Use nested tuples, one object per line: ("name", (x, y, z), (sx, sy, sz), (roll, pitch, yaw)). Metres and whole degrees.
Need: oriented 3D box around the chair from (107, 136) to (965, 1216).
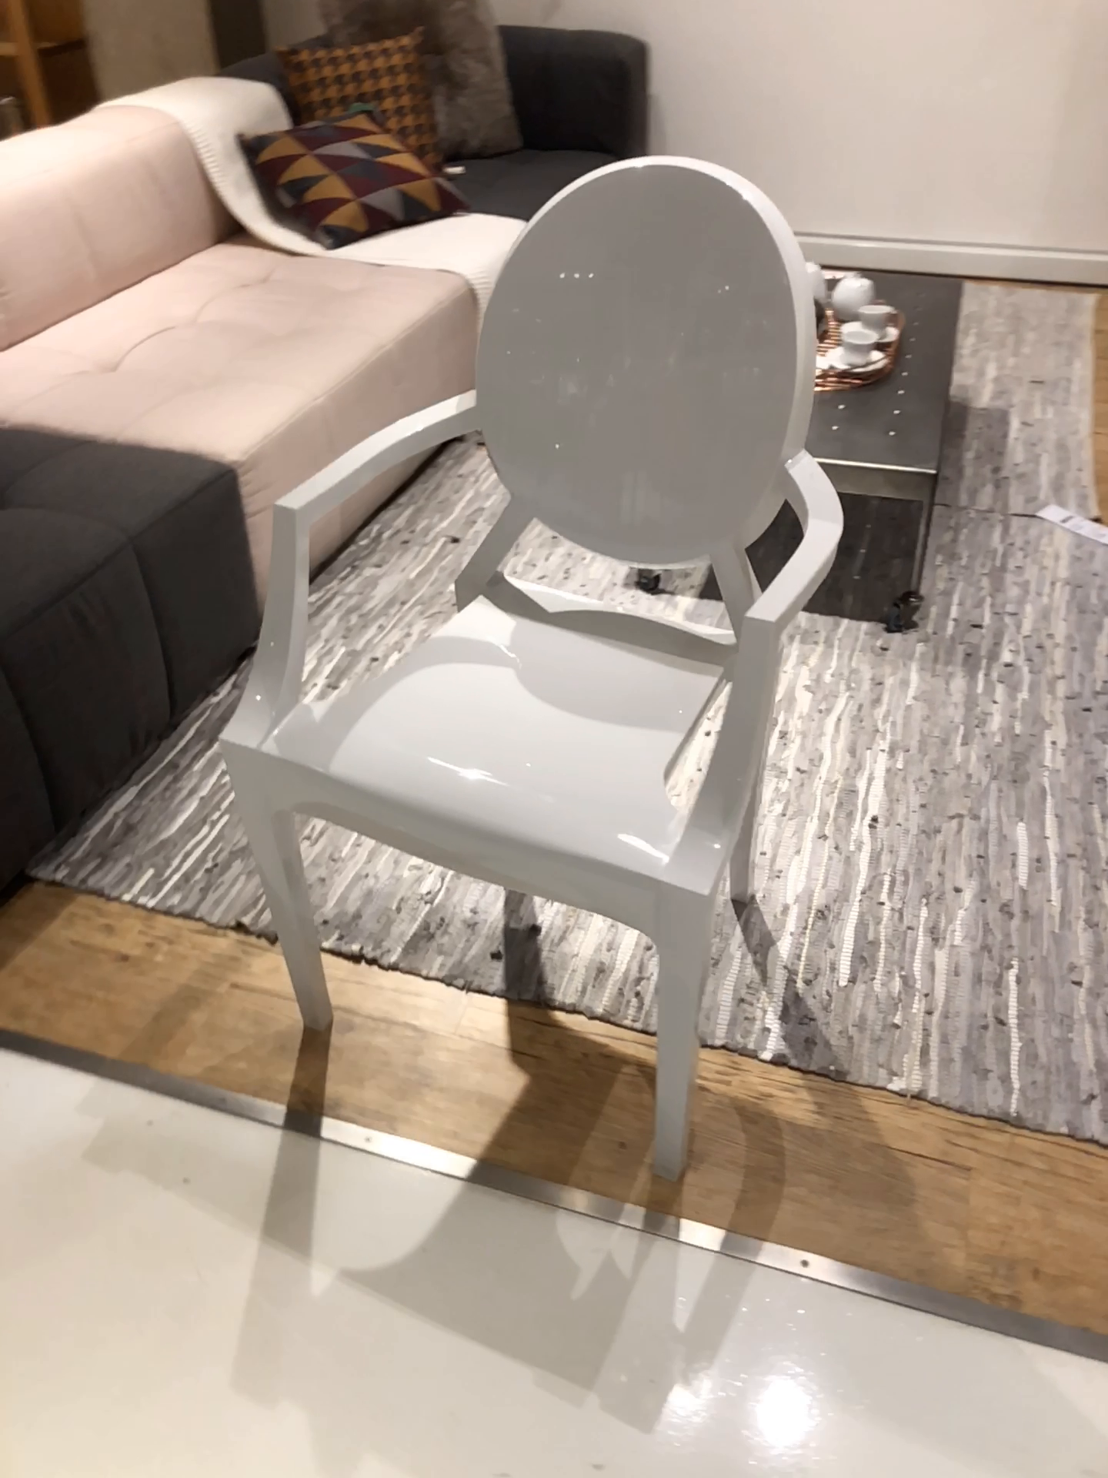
("chair", (0.031, -0.082, 1.241), (0.511, 0.843, 0.554), (15, 39, 21))
